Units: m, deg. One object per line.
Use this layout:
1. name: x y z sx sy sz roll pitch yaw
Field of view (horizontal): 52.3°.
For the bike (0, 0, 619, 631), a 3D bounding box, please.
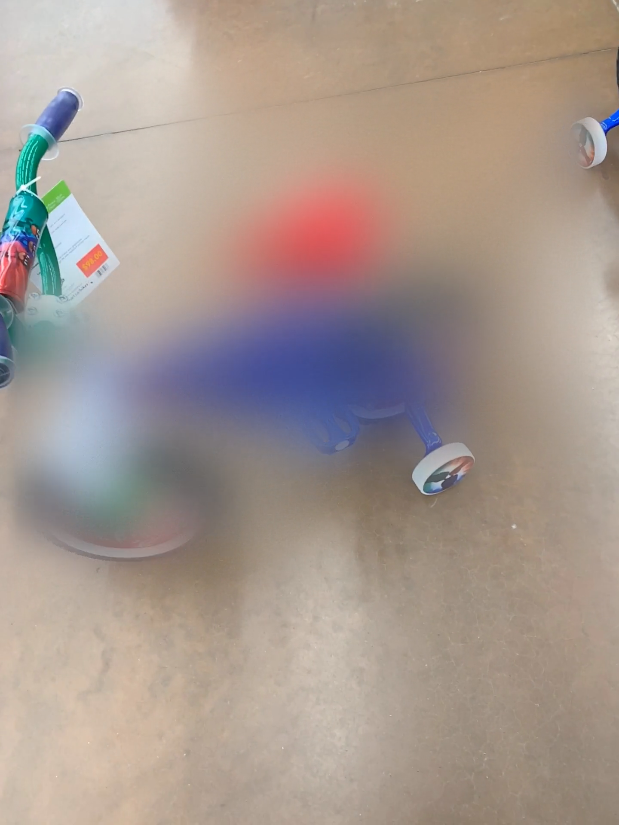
1. bike: -0.116 -0.132 0.934 0.793 0.695 0.466 -24 57 -4
